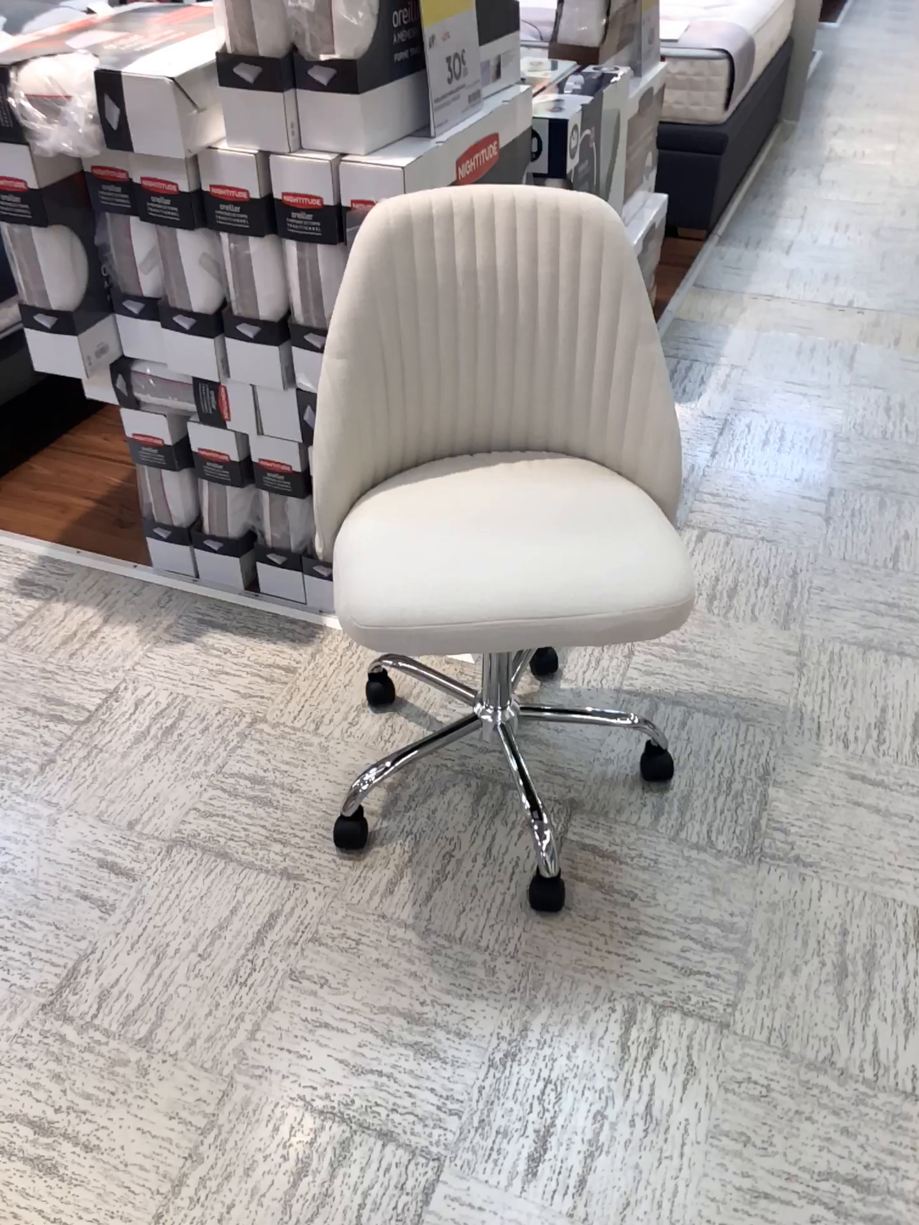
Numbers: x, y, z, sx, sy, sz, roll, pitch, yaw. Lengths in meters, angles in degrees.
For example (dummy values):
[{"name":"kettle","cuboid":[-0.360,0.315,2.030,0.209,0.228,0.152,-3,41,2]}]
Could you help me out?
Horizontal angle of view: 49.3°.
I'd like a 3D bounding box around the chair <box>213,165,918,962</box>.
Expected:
[{"name":"chair","cuboid":[0.089,-0.092,1.372,0.701,0.785,0.633,-8,39,-10]}]
